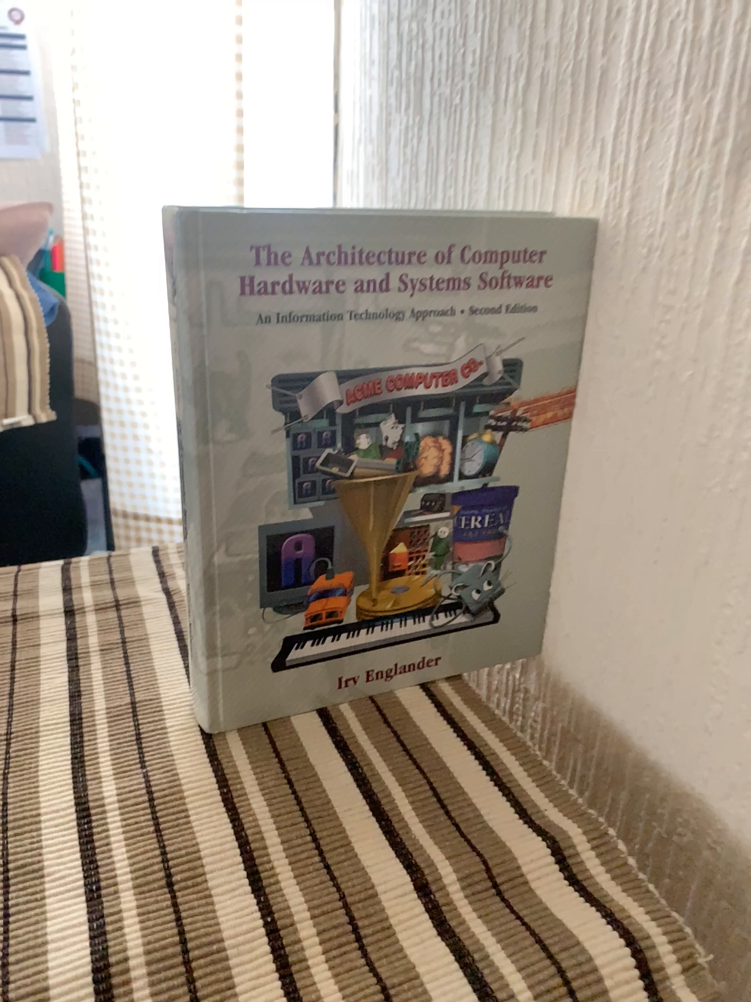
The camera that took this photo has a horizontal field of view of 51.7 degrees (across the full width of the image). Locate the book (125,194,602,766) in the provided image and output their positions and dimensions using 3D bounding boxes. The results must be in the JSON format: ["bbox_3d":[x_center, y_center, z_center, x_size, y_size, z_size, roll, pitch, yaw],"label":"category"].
[{"bbox_3d":[-0.001,-0.012,0.387,0.210,0.258,0.040,-8,23,-22],"label":"book"}]
